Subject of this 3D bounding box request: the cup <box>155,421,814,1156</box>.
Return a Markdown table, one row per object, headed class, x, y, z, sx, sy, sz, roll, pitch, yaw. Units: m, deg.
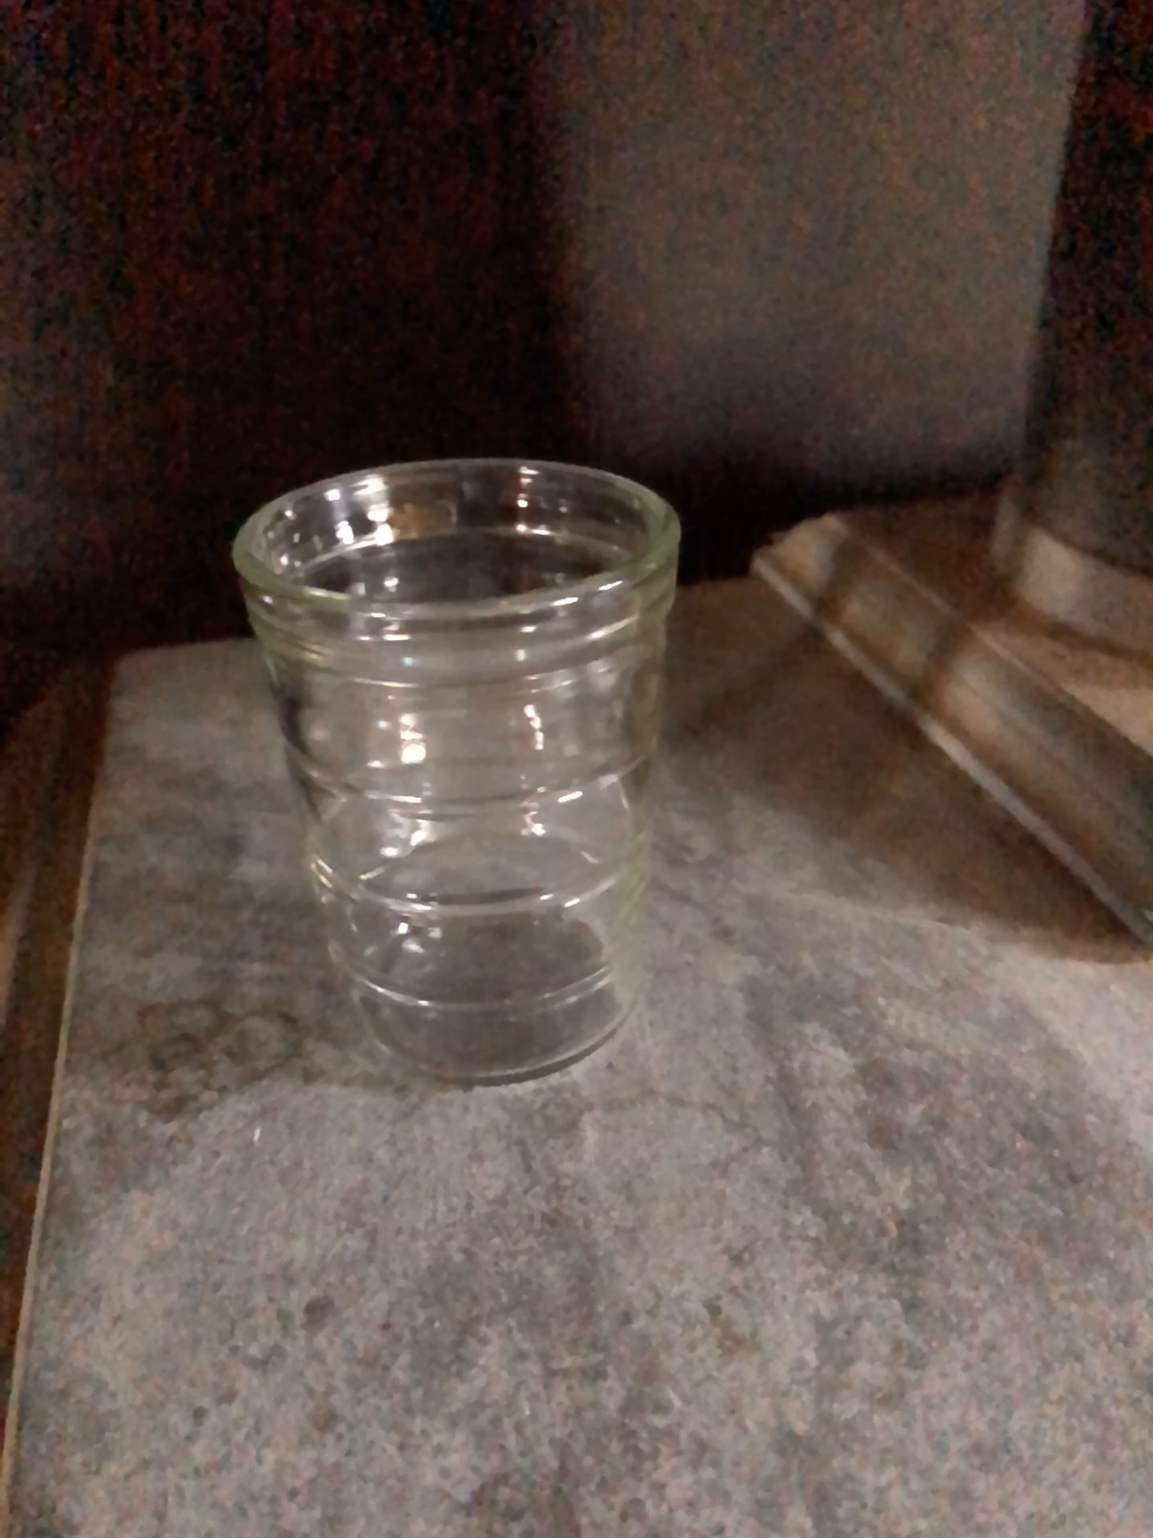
| class | x | y | z | sx | sy | sz | roll | pitch | yaw |
| --- | --- | --- | --- | --- | --- | --- | --- | --- | --- |
| cup | -0.013 | -0.003 | 0.210 | 0.070 | 0.080 | 0.070 | -2 | 30 | 1 |
